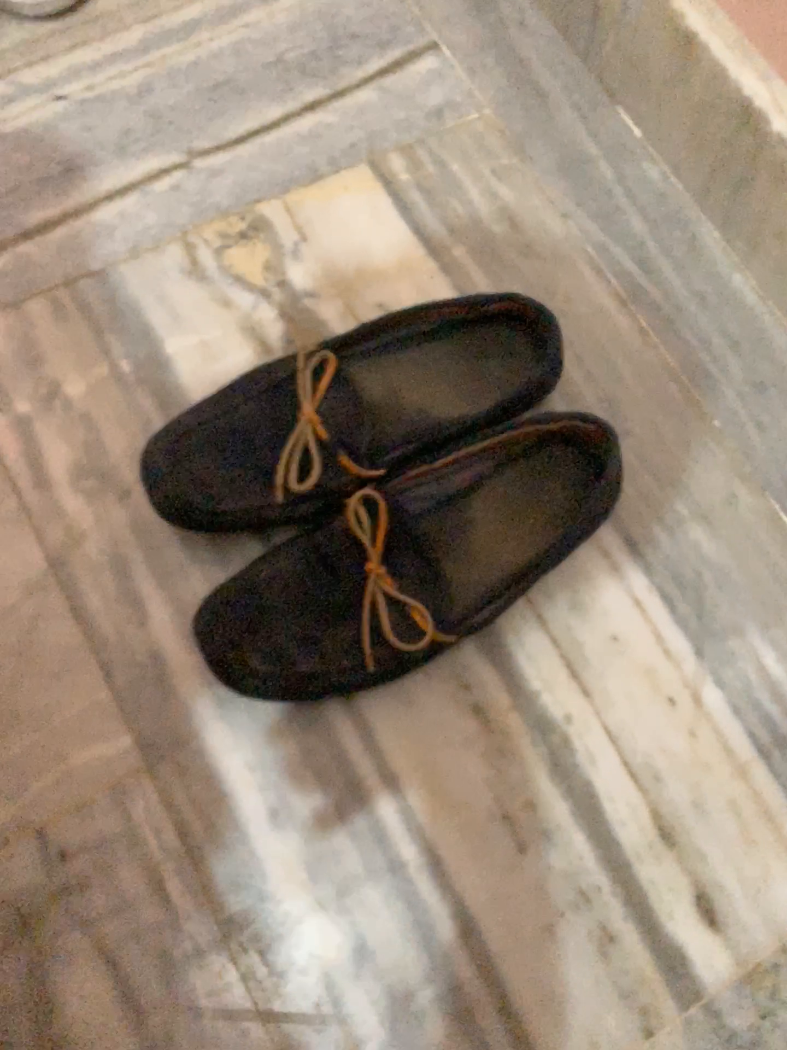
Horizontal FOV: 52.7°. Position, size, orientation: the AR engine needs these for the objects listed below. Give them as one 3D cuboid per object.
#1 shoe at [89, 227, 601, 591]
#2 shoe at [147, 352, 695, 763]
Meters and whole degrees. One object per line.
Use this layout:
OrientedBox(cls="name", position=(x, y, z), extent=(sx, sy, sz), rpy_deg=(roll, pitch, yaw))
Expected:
OrientedBox(cls="shoe", position=(-0.027, -0.076, 0.507), extent=(0.280, 0.070, 0.120), rpy_deg=(-23, 76, -11))
OrientedBox(cls="shoe", position=(0.019, 0.017, 0.495), extent=(0.300, 0.070, 0.120), rpy_deg=(-27, 77, -12))
